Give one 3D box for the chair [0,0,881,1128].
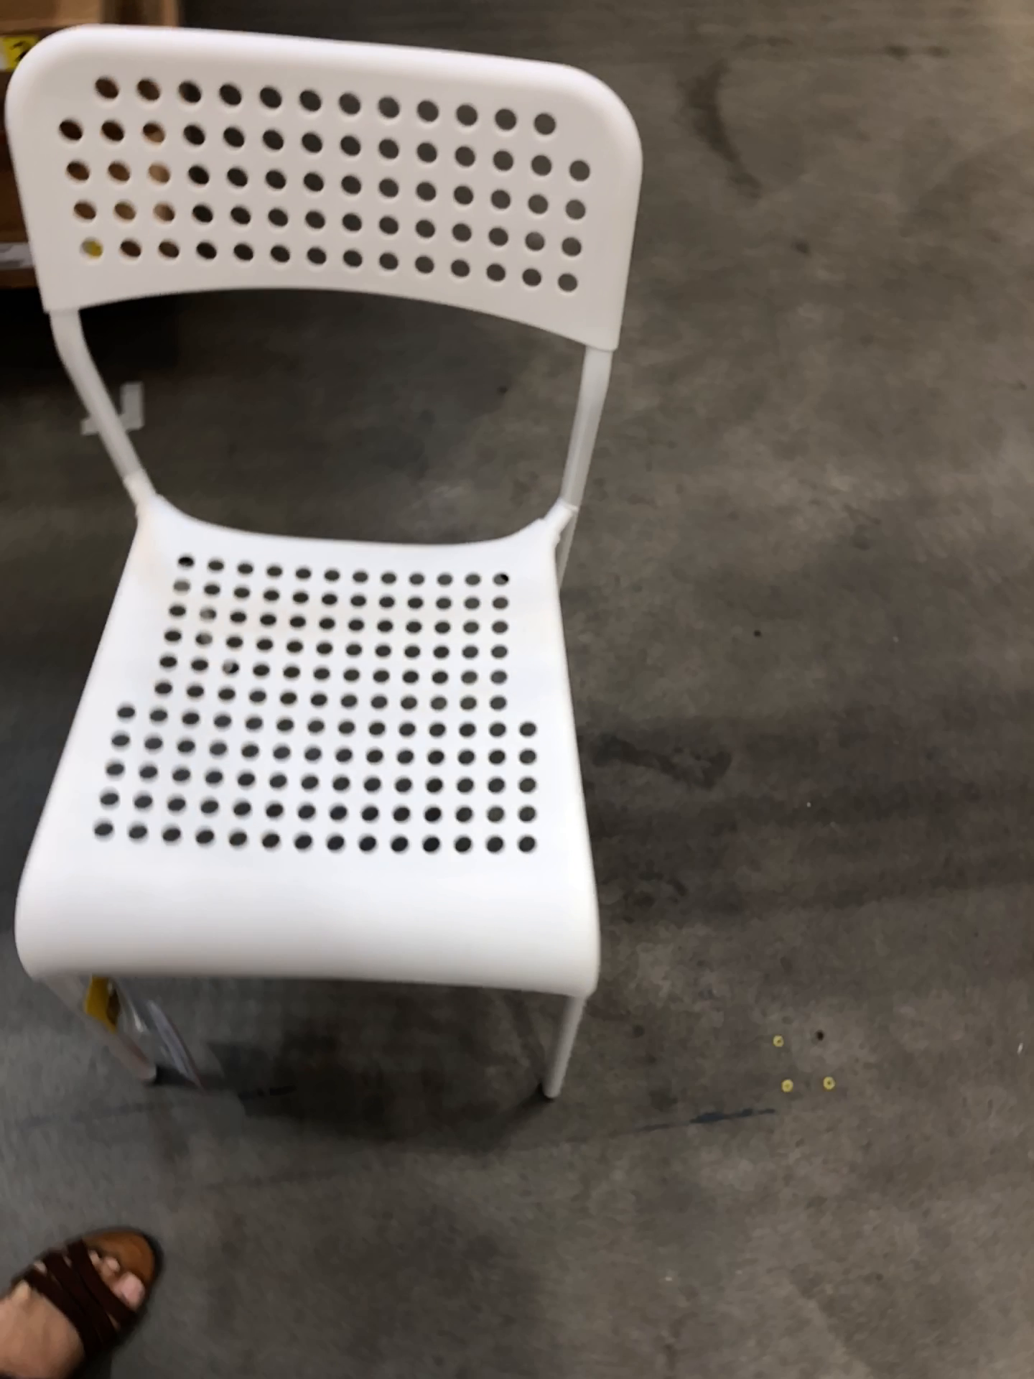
[{"bbox_3d":[-0.113,0.002,0.835,0.460,0.699,0.511,4,63,-3],"label":"chair"}]
